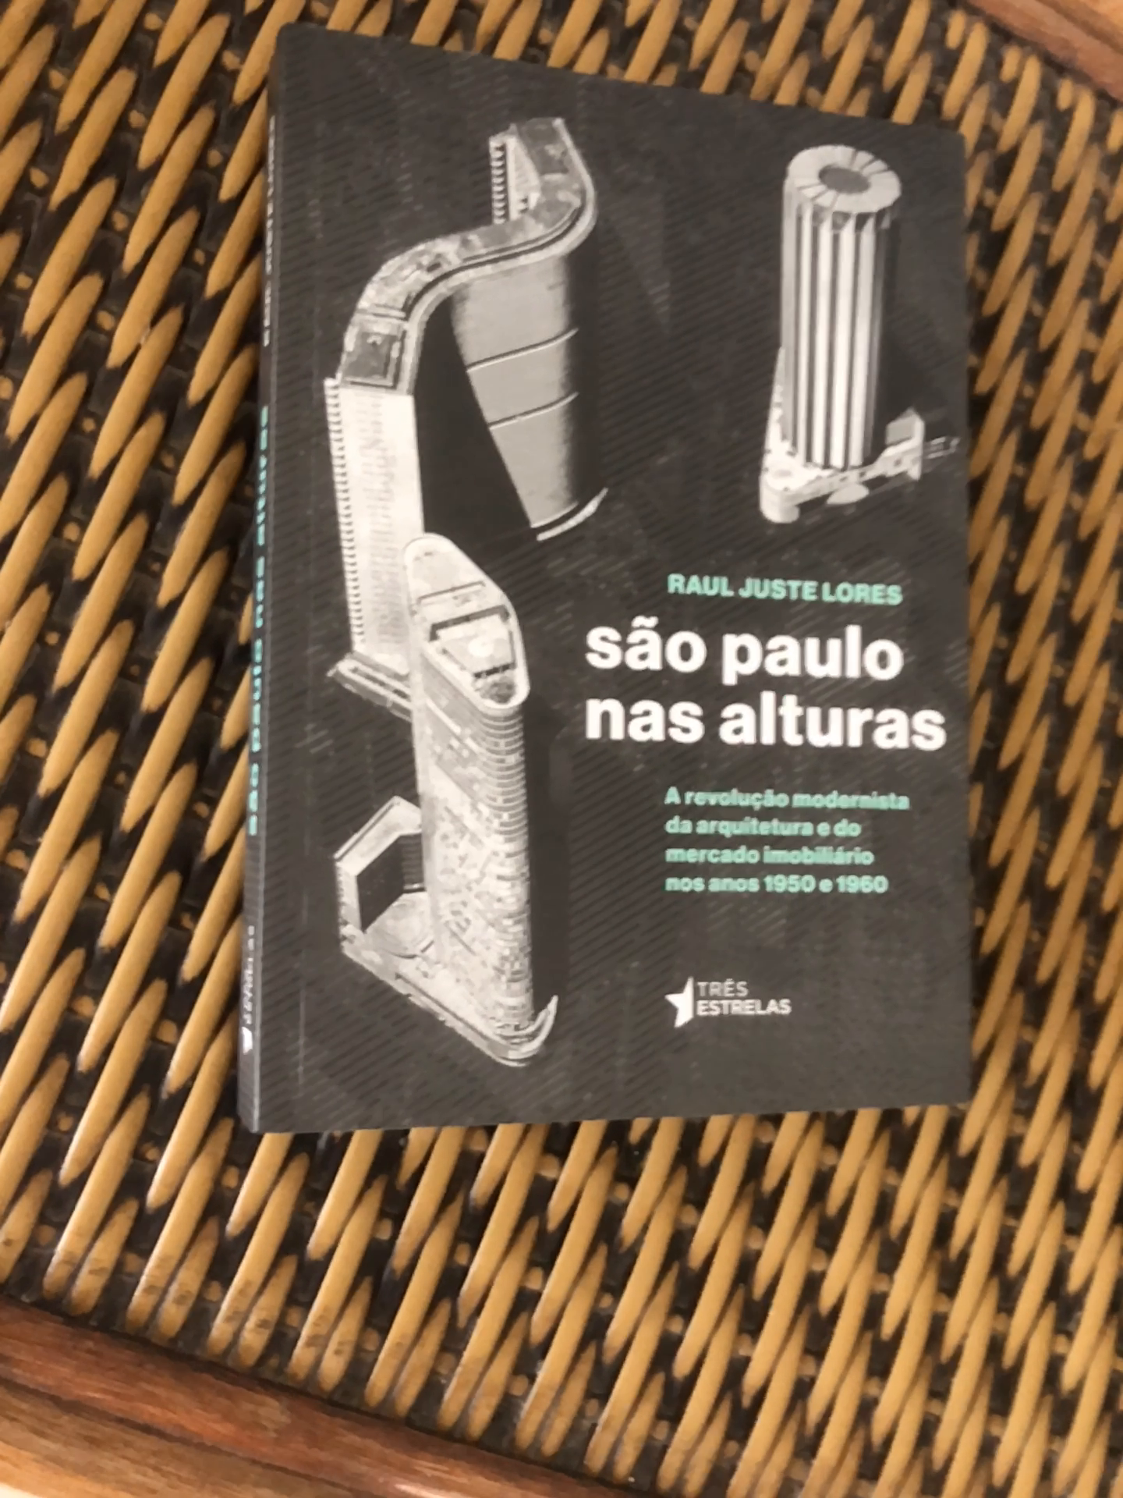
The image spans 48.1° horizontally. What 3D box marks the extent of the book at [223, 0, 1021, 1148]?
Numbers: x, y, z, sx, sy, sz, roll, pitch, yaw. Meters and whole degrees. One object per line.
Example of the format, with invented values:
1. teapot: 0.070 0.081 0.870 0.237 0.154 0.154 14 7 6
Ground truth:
1. book: 0.015 -0.036 0.264 0.160 0.030 0.221 2 89 -15
